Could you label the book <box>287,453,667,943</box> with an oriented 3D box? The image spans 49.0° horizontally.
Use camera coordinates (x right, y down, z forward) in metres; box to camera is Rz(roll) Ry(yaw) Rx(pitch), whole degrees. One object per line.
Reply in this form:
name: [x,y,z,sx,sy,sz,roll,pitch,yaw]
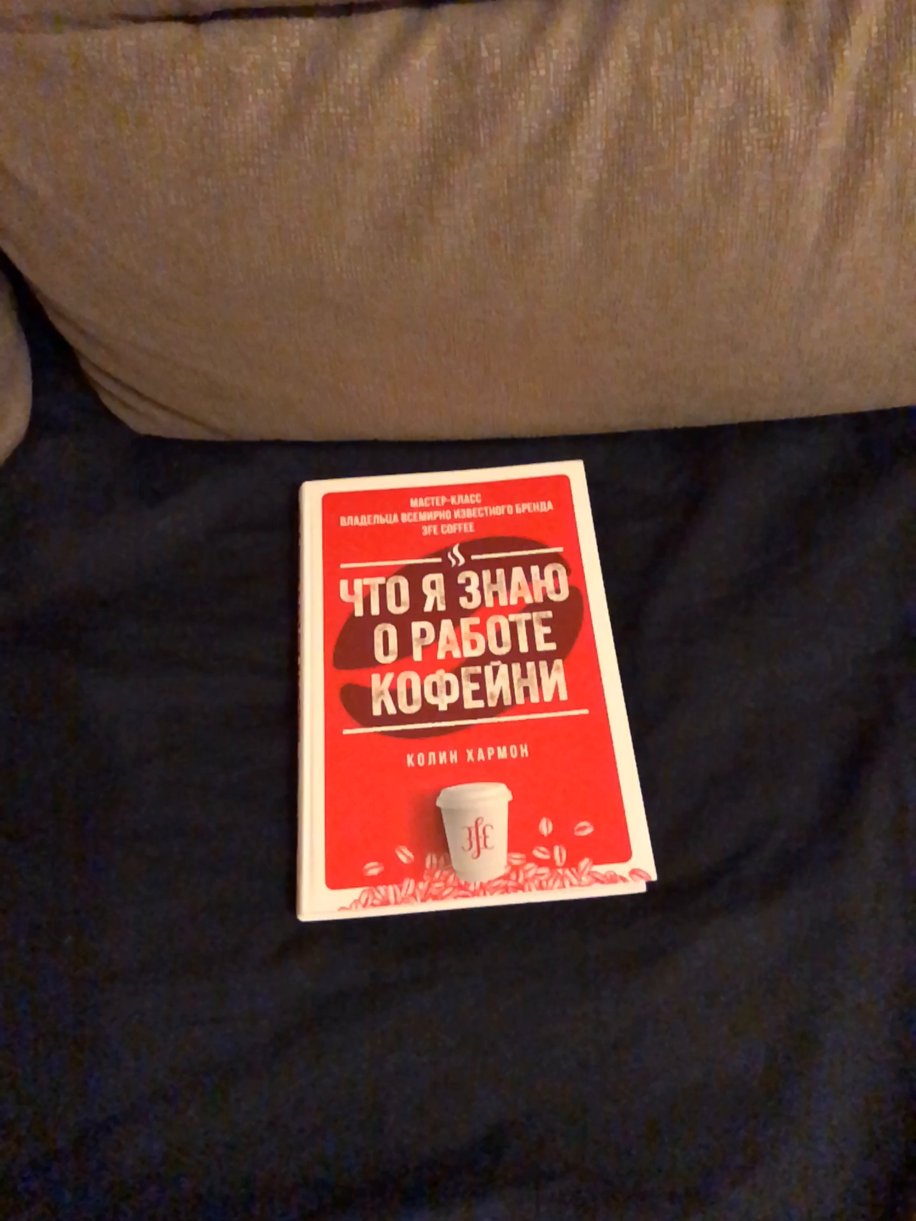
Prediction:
book: [0.000,0.030,0.465,0.153,0.020,0.223,-5,62,0]
